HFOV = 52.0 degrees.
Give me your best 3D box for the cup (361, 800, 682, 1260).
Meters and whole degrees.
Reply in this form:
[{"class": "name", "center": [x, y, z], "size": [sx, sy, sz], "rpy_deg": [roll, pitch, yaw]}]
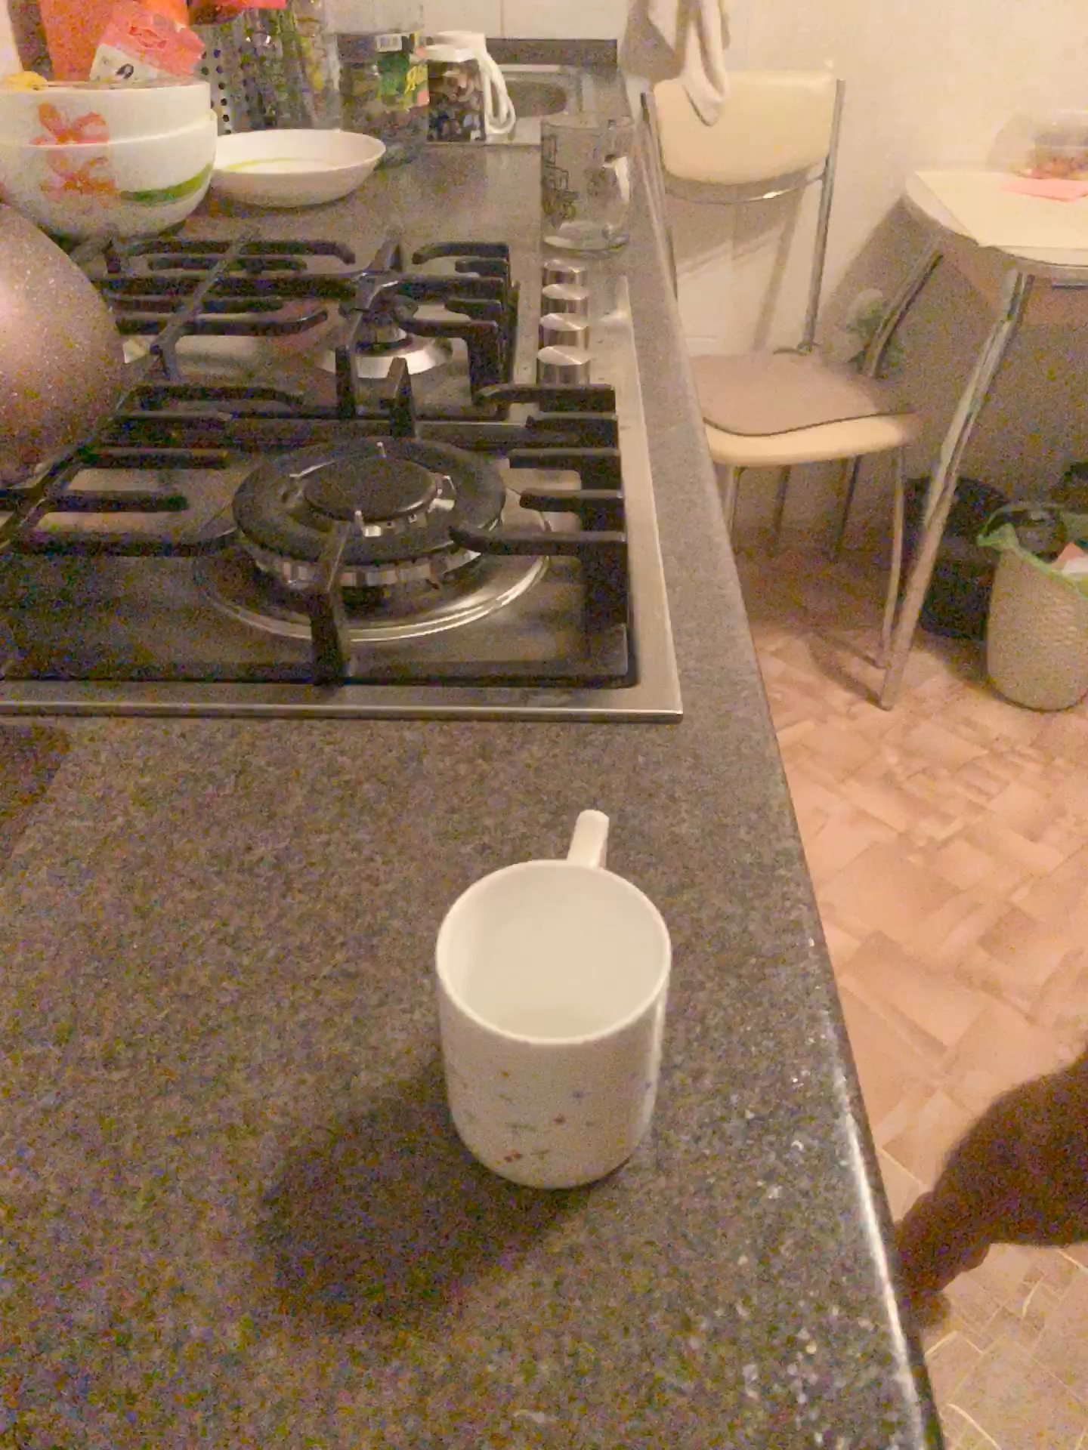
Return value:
[{"class": "cup", "center": [-0.002, 0.076, 0.291], "size": [0.060, 0.069, 0.081], "rpy_deg": [8, 38, 10]}]
